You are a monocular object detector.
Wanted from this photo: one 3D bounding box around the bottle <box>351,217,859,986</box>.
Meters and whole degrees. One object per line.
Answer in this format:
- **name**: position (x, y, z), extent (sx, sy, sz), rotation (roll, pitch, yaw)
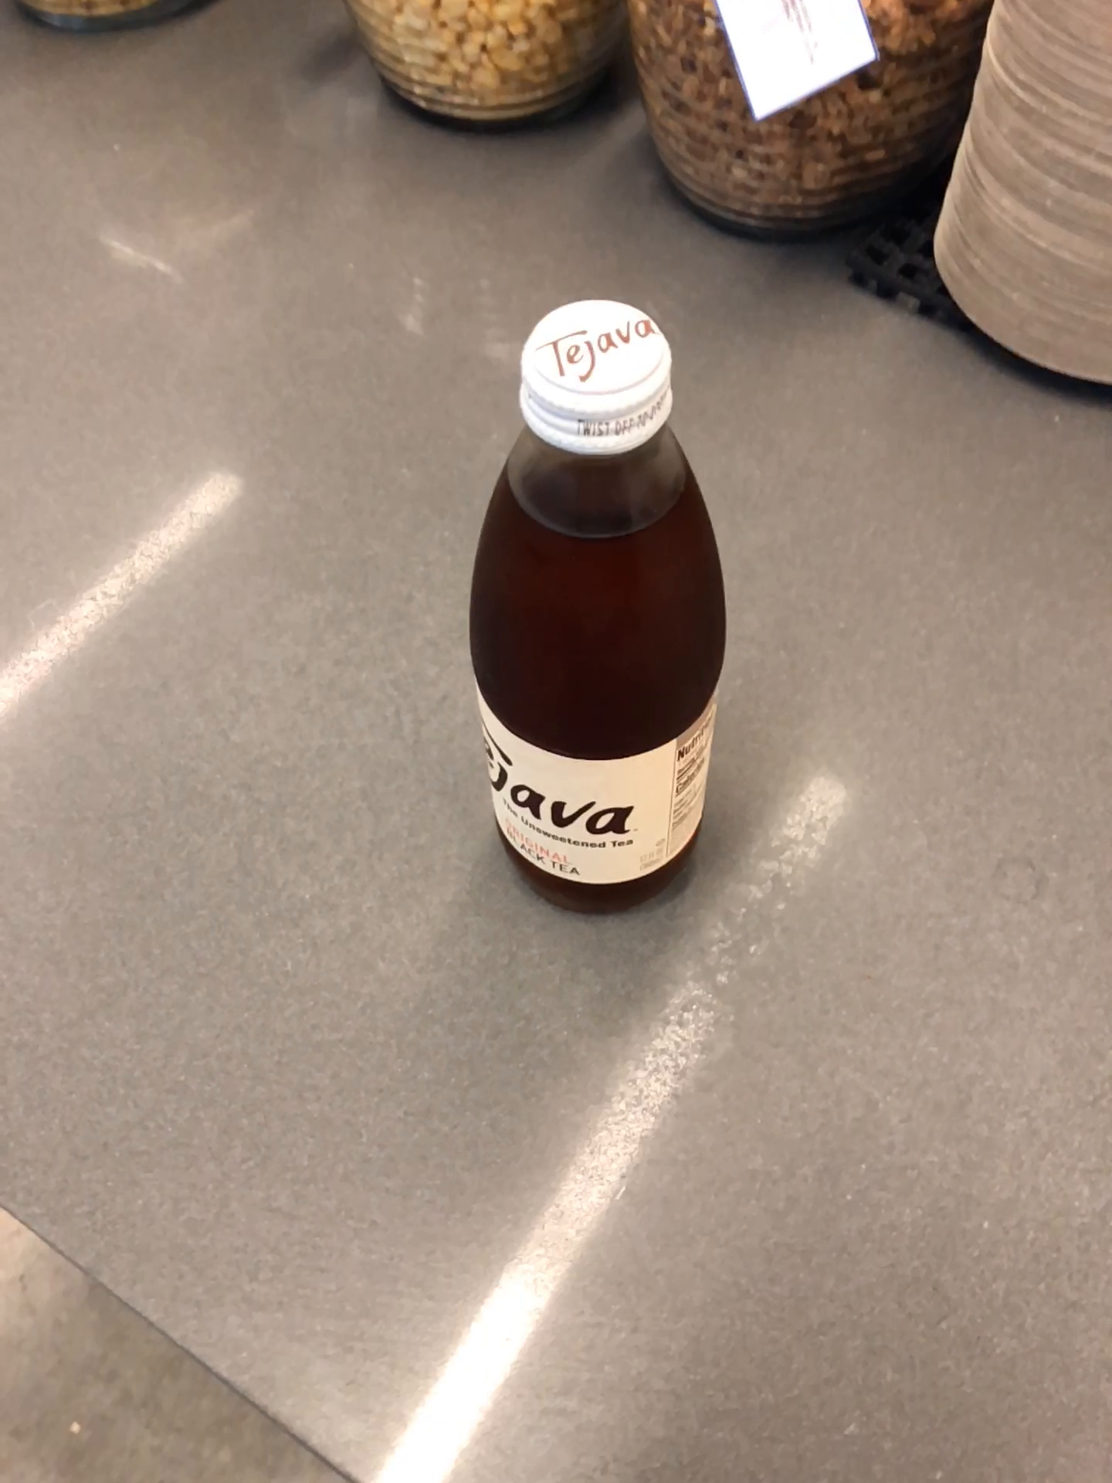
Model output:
- **bottle**: position (0.013, -0.019, 0.315), extent (0.070, 0.189, 0.070), rotation (-1, 57, 1)
